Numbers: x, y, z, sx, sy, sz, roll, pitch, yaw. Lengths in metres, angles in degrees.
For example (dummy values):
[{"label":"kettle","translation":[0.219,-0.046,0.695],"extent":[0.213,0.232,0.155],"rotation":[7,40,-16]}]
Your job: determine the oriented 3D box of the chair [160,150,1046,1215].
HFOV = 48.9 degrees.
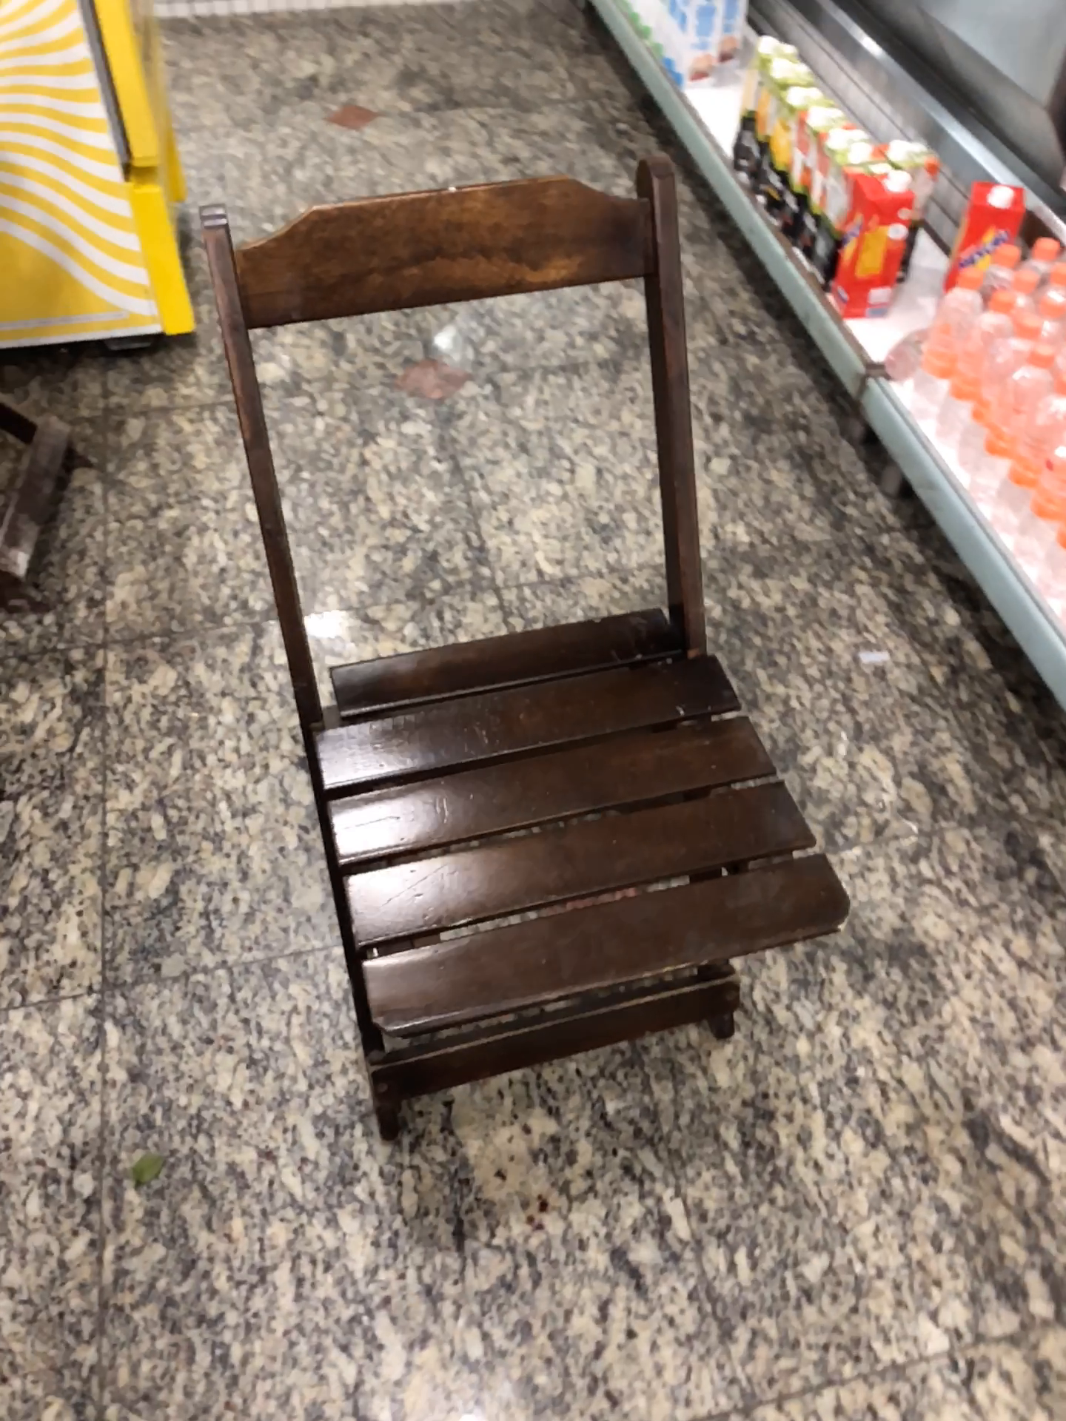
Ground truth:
[{"label":"chair","translation":[-0.010,-0.003,1.052],"extent":[0.440,0.706,0.553],"rotation":[-12,50,-12]}]
